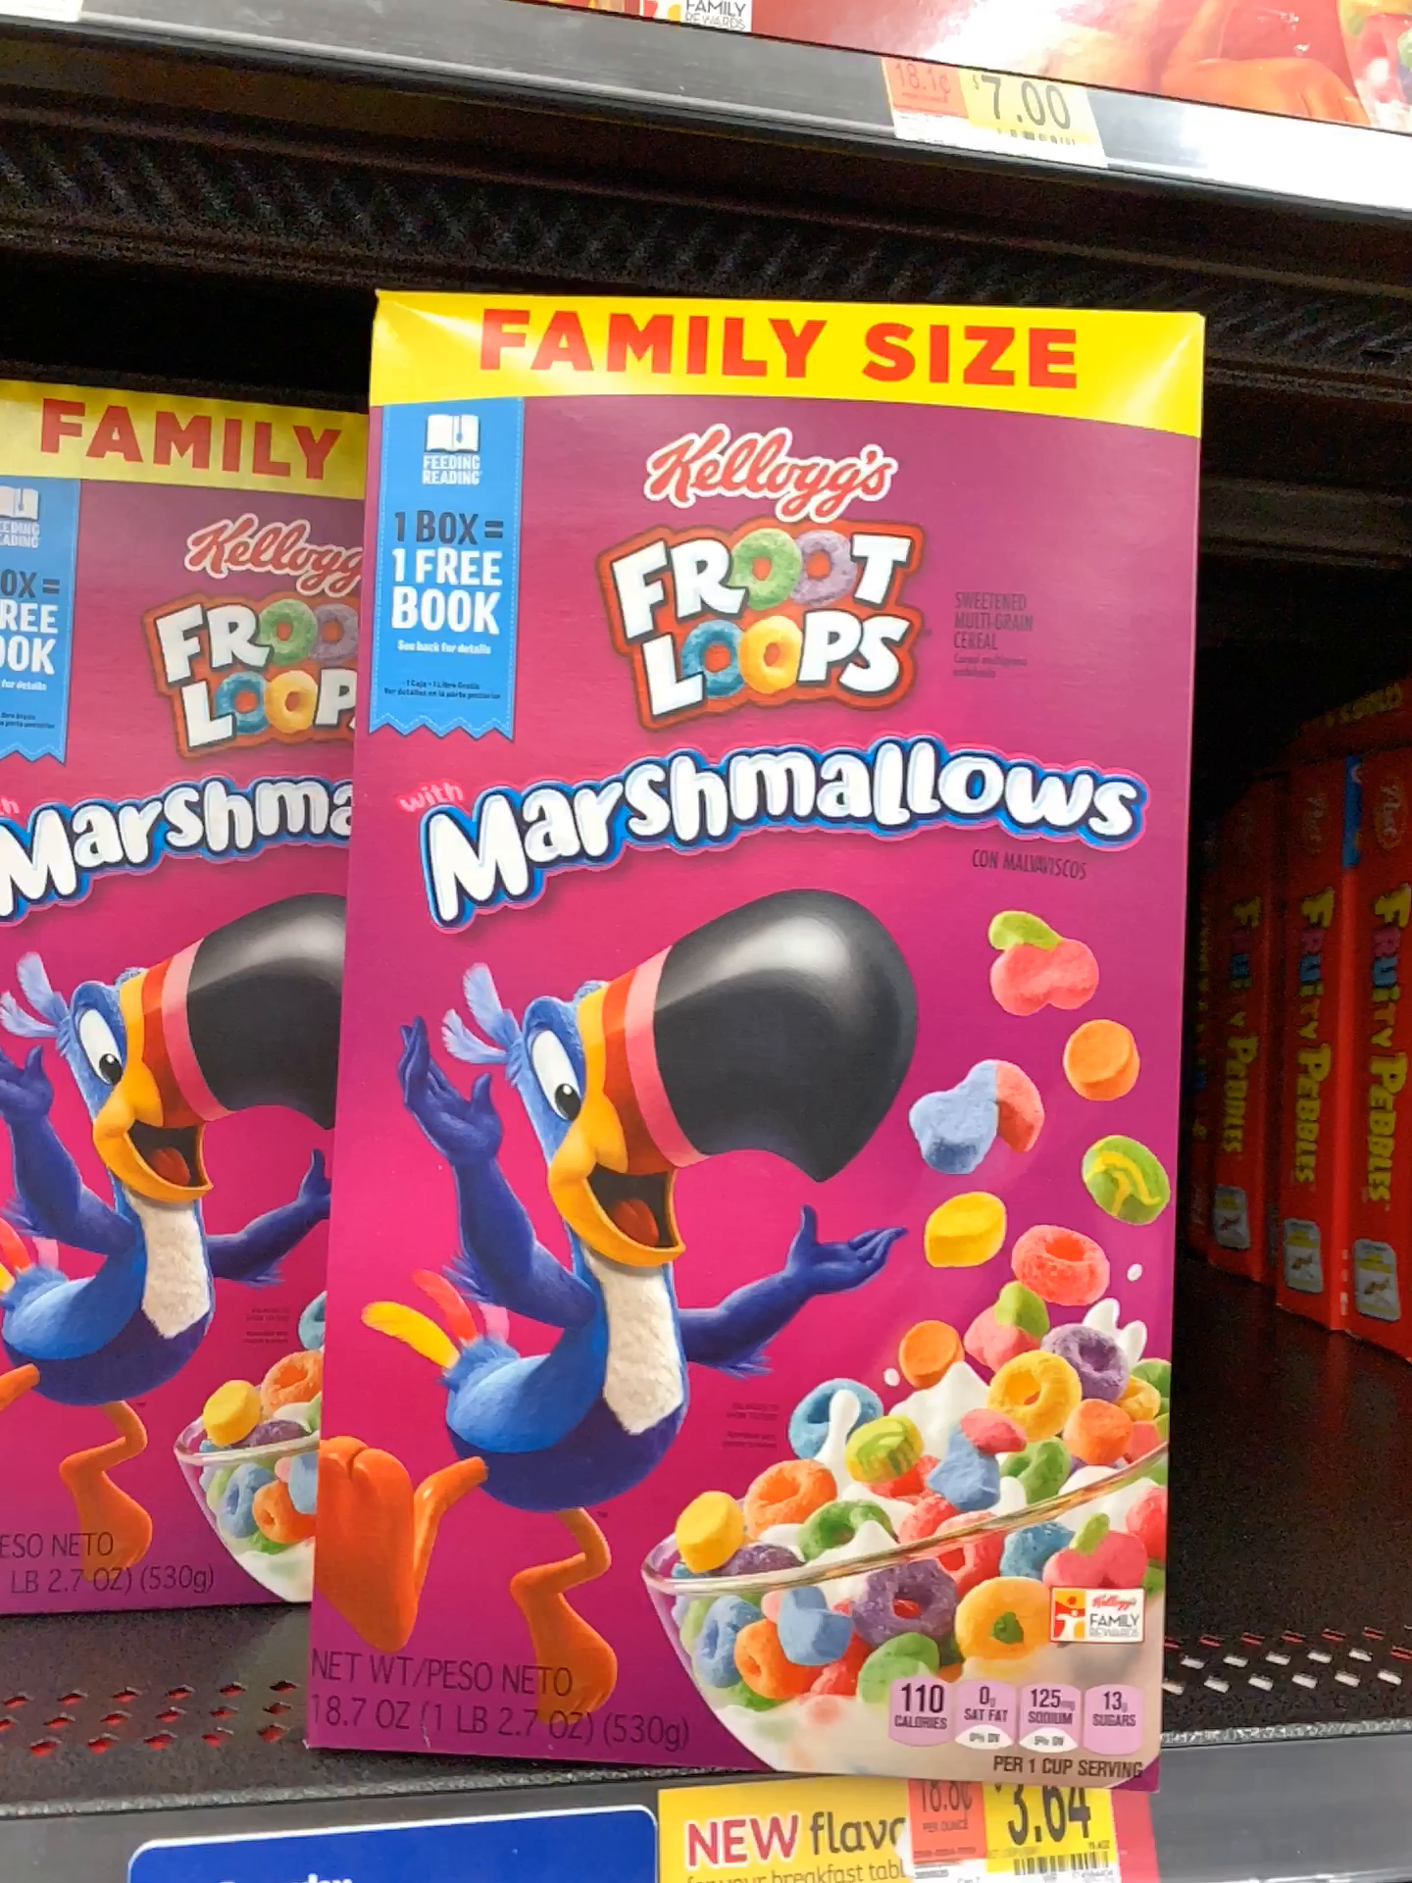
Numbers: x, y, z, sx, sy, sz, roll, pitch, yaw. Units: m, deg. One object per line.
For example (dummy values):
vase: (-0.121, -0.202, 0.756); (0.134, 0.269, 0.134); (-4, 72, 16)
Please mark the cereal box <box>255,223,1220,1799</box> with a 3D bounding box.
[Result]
cereal box: (0.009, 0.012, 0.363); (0.200, 0.340, 0.080); (2, -2, 2)
